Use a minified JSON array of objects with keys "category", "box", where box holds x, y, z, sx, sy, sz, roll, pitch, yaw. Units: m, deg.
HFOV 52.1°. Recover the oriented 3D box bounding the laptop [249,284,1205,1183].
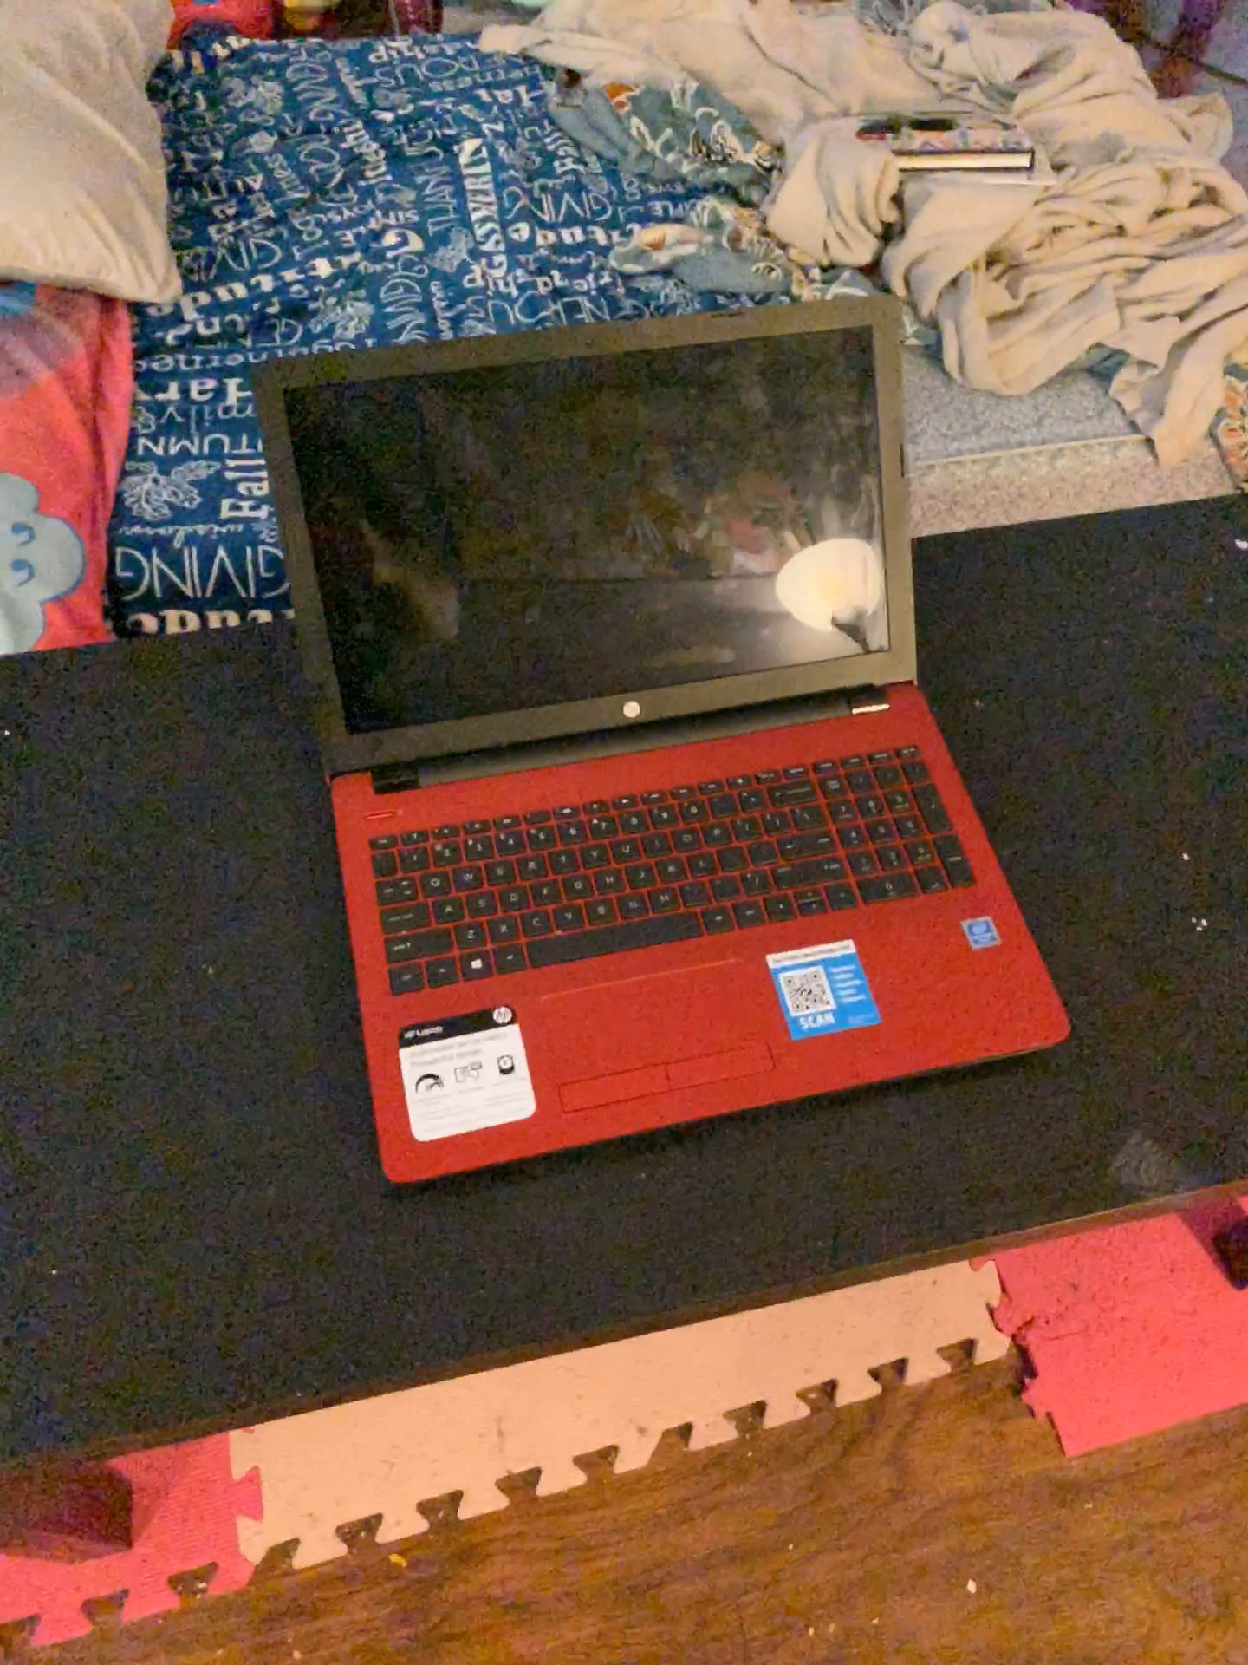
[{"category":"laptop","box":[0.021,-0.076,0.699,0.375,0.170,0.410,-10,60,-10]}]
